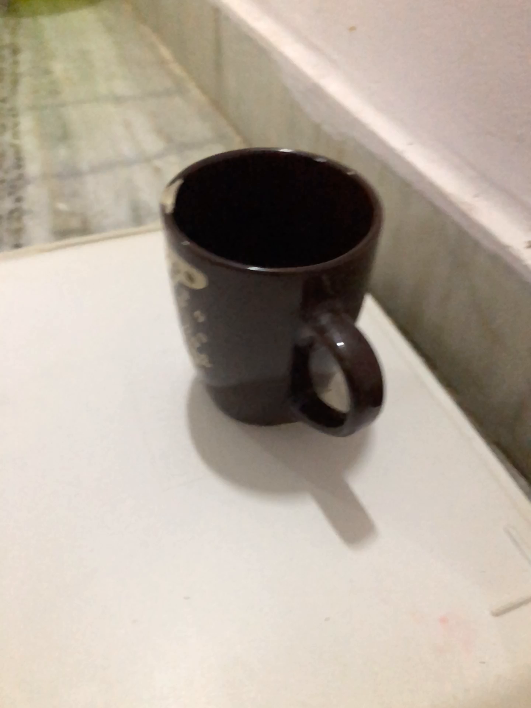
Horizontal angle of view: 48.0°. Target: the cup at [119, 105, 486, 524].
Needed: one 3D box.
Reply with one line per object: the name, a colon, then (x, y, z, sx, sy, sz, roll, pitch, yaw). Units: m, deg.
cup: (0.004, -0.020, 0.239, 0.070, 0.099, 0.120, -22, 51, -23)
